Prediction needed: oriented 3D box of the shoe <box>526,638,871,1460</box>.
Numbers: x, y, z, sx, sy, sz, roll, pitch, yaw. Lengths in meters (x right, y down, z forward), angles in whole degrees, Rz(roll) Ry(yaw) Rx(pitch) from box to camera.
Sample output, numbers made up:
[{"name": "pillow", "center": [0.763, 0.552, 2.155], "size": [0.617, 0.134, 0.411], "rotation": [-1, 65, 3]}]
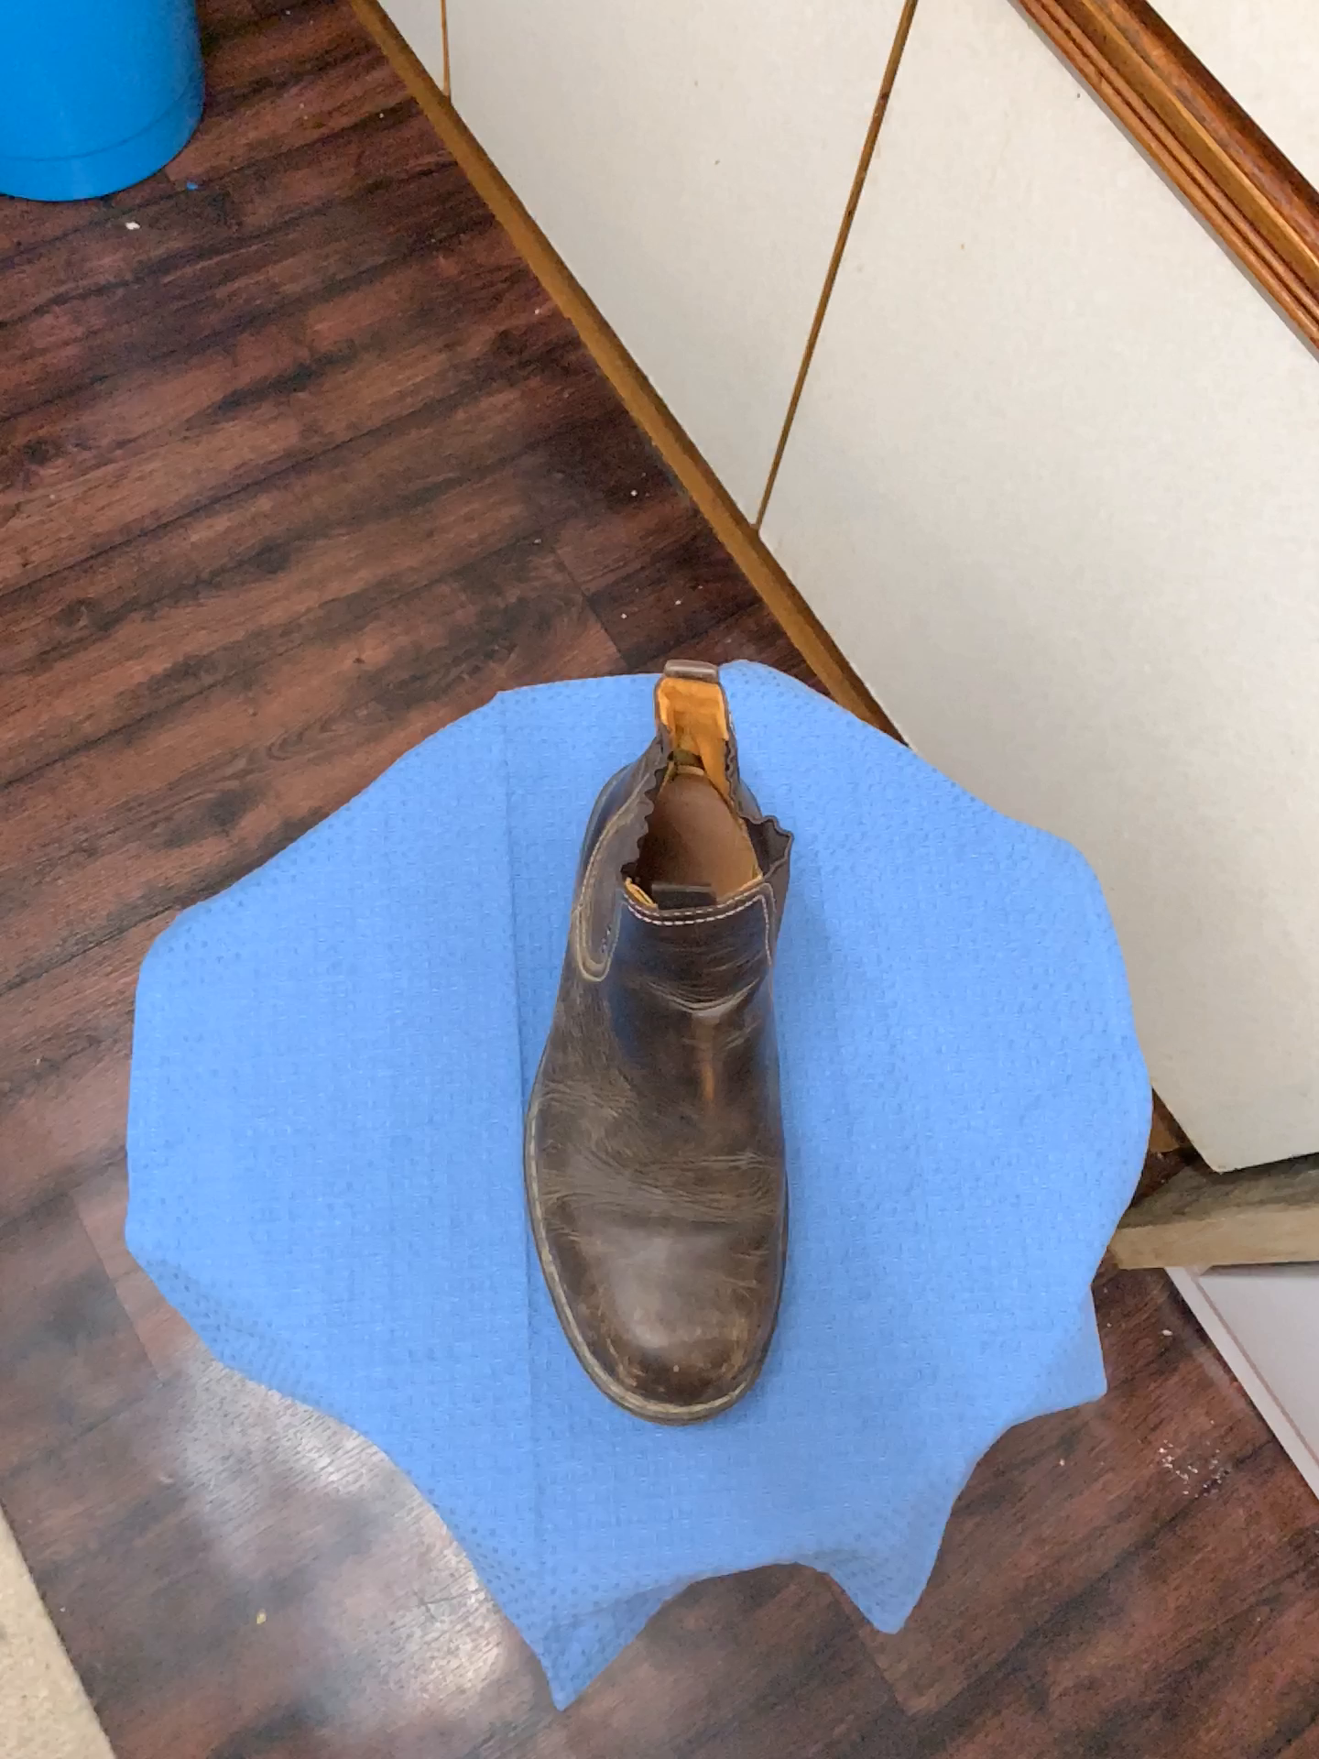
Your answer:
[{"name": "shoe", "center": [0.007, 0.069, 0.530], "size": [0.105, 0.157, 0.279], "rotation": [3, 71, -5]}]
